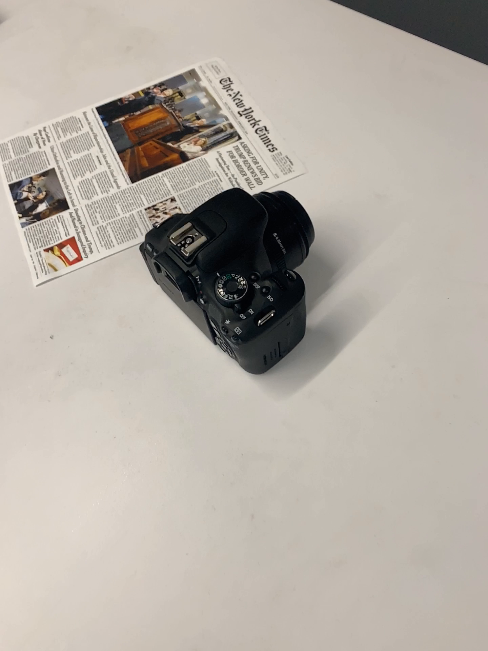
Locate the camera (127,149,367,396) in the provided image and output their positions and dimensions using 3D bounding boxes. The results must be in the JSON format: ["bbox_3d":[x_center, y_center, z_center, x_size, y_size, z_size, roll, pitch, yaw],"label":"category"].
[{"bbox_3d":[0.002,-0.043,0.398,0.109,0.090,0.138,-38,64,-14],"label":"camera"}]
